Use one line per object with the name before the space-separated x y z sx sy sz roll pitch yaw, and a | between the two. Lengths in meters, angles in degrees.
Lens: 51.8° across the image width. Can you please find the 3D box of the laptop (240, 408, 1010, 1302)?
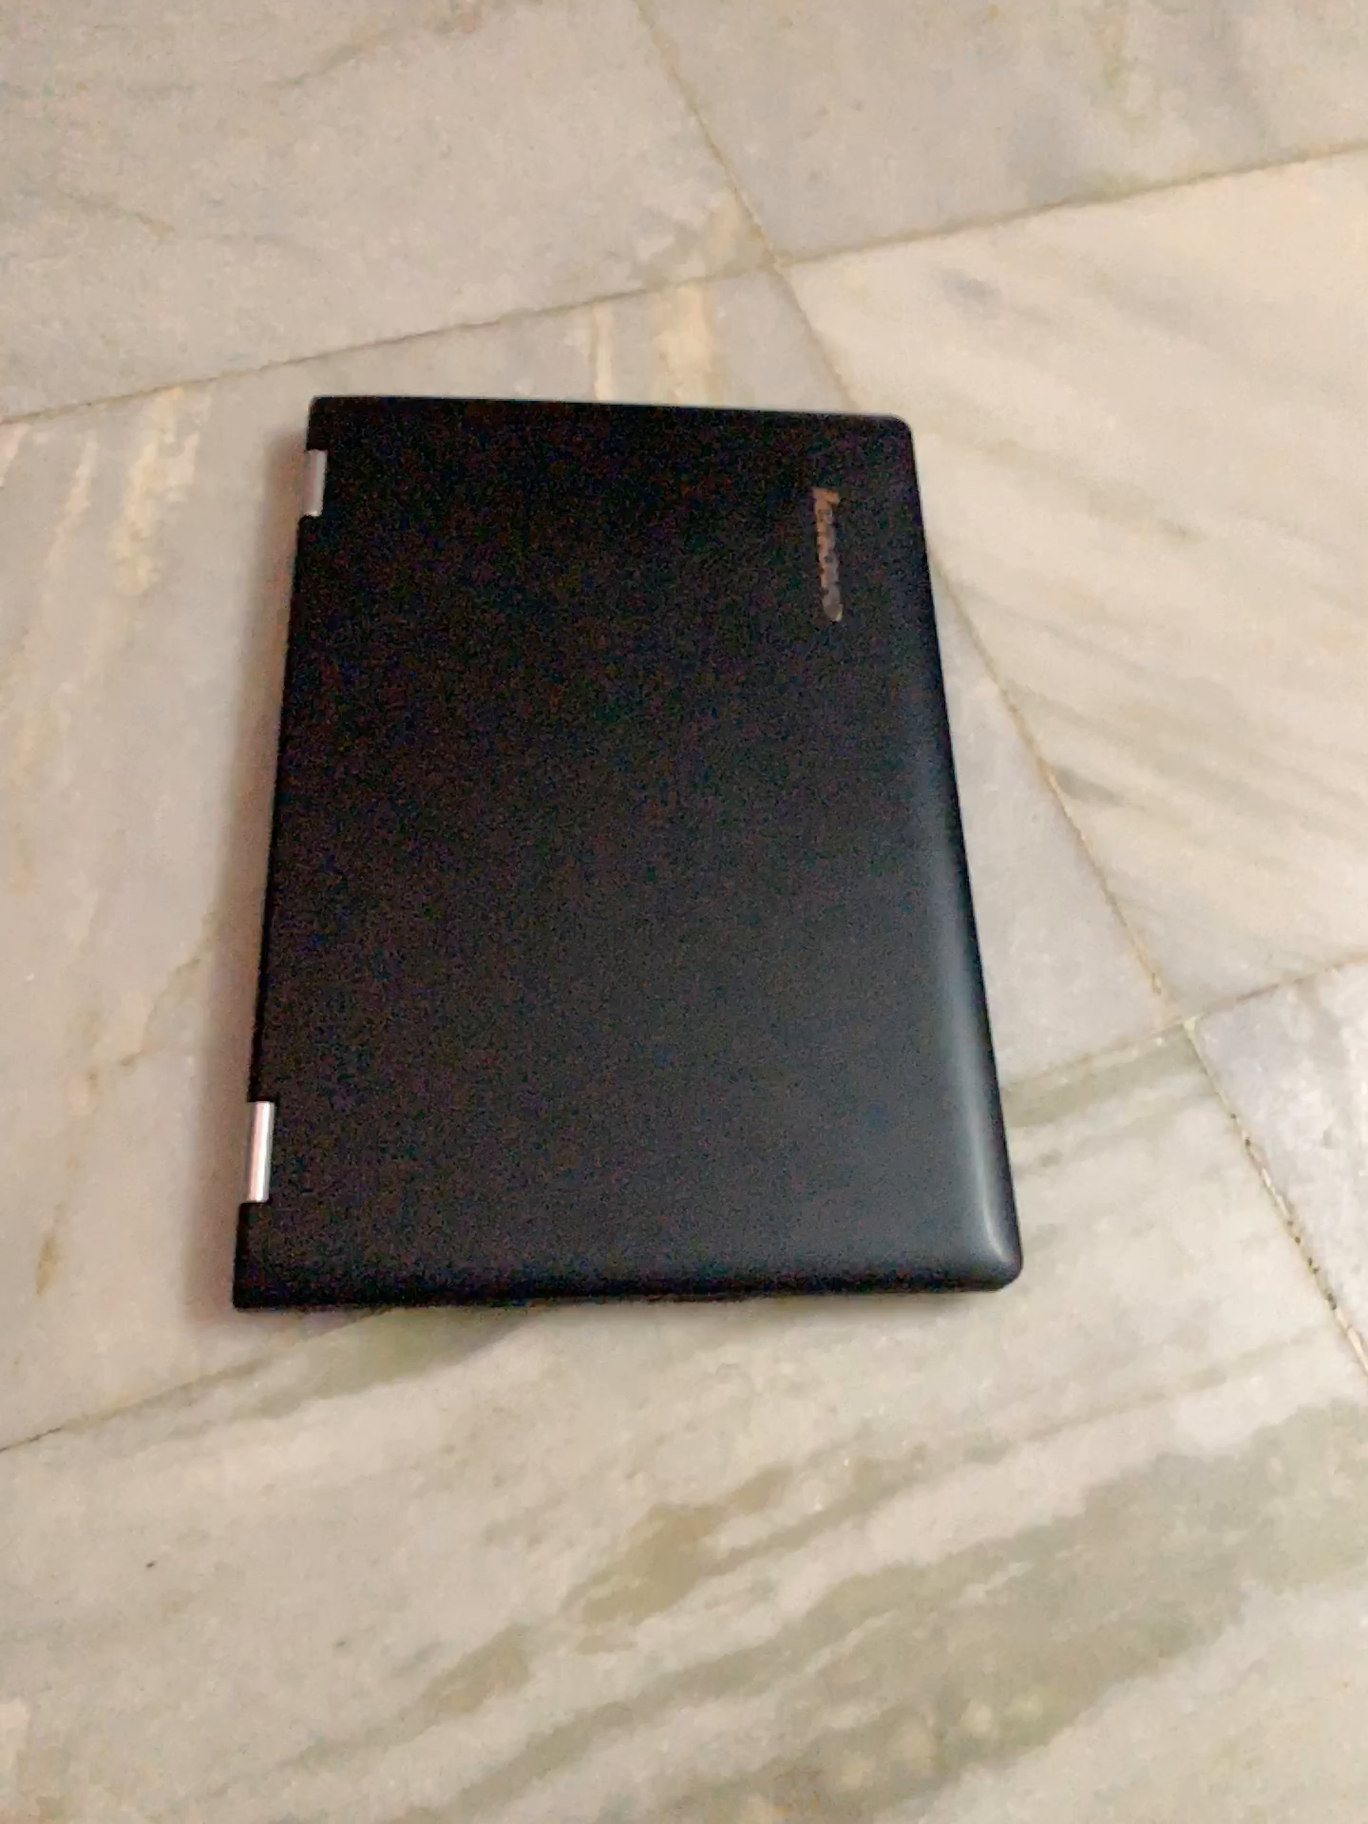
laptop | -0.020 -0.039 0.474 0.223 0.001 0.325 0 66 -6
